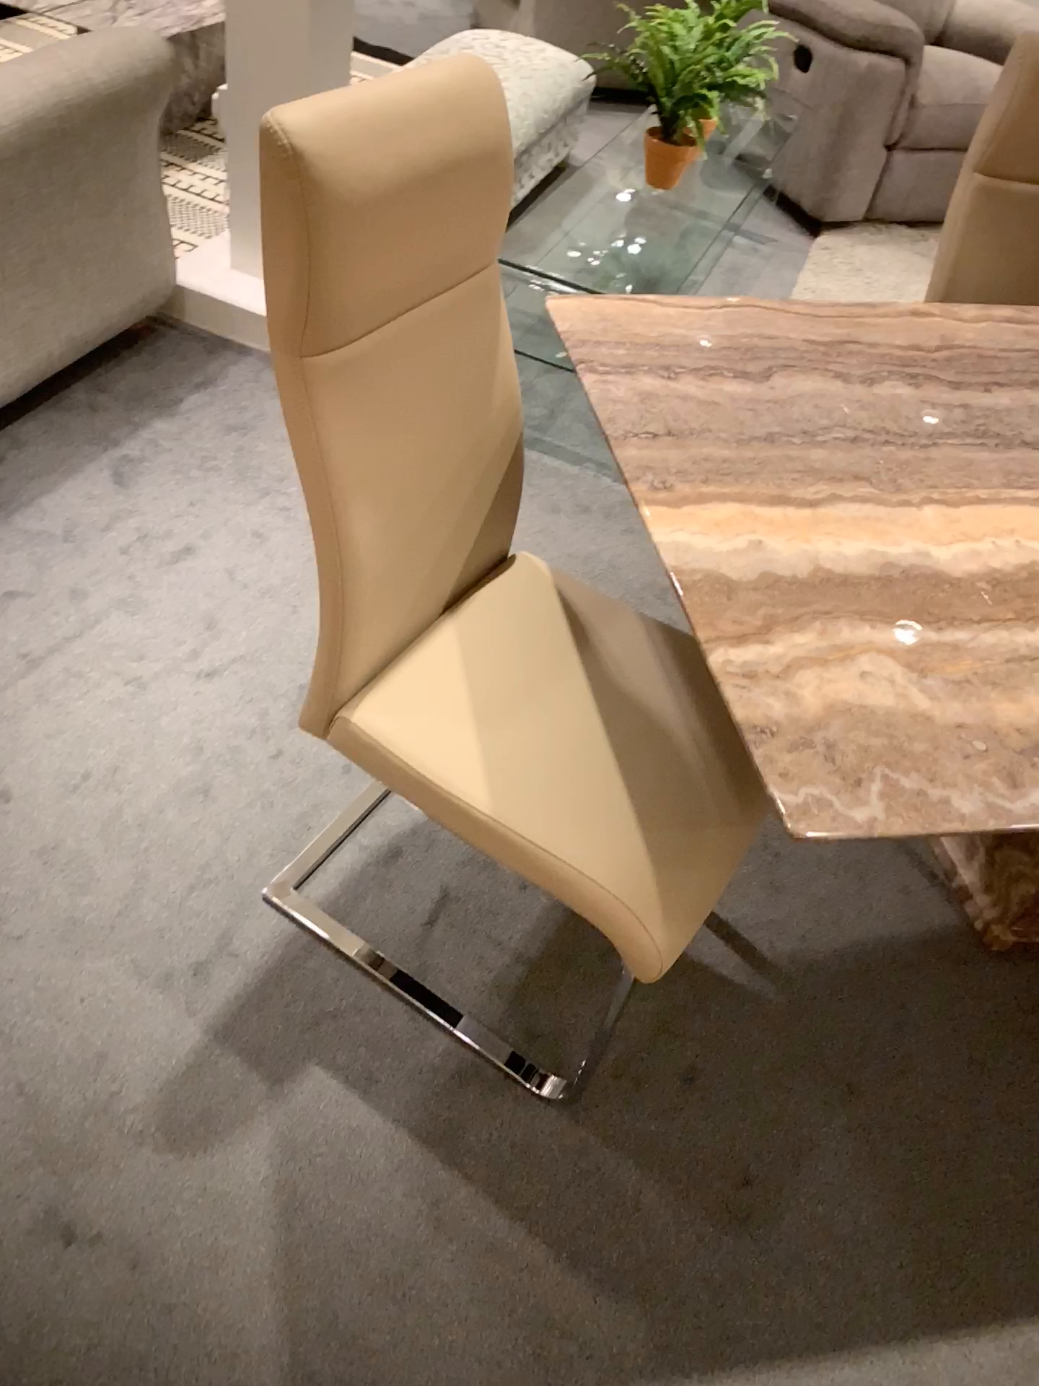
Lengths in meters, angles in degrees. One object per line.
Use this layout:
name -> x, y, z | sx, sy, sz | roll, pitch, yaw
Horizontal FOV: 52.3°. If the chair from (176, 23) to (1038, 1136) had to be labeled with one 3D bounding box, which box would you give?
chair -> 0.050, -0.082, 1.205 | 0.584, 0.982, 0.531 | 29, 47, 15
